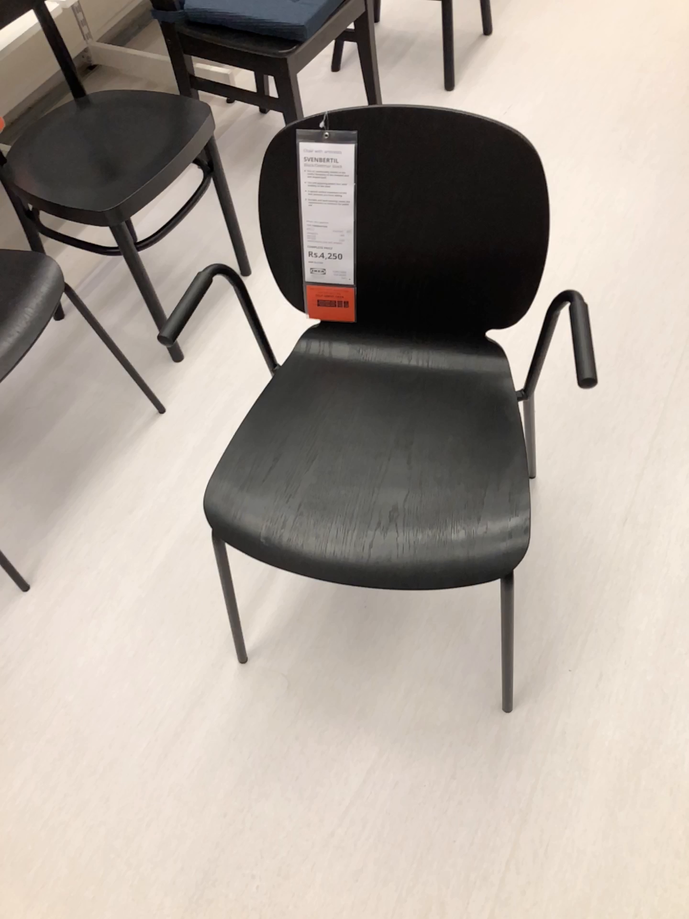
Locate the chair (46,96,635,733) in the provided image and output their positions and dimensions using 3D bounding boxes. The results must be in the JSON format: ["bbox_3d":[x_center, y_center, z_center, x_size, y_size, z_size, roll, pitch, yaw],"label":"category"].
[{"bbox_3d":[0.069,-0.039,1.122,0.530,0.686,0.583,9,57,13],"label":"chair"}]
